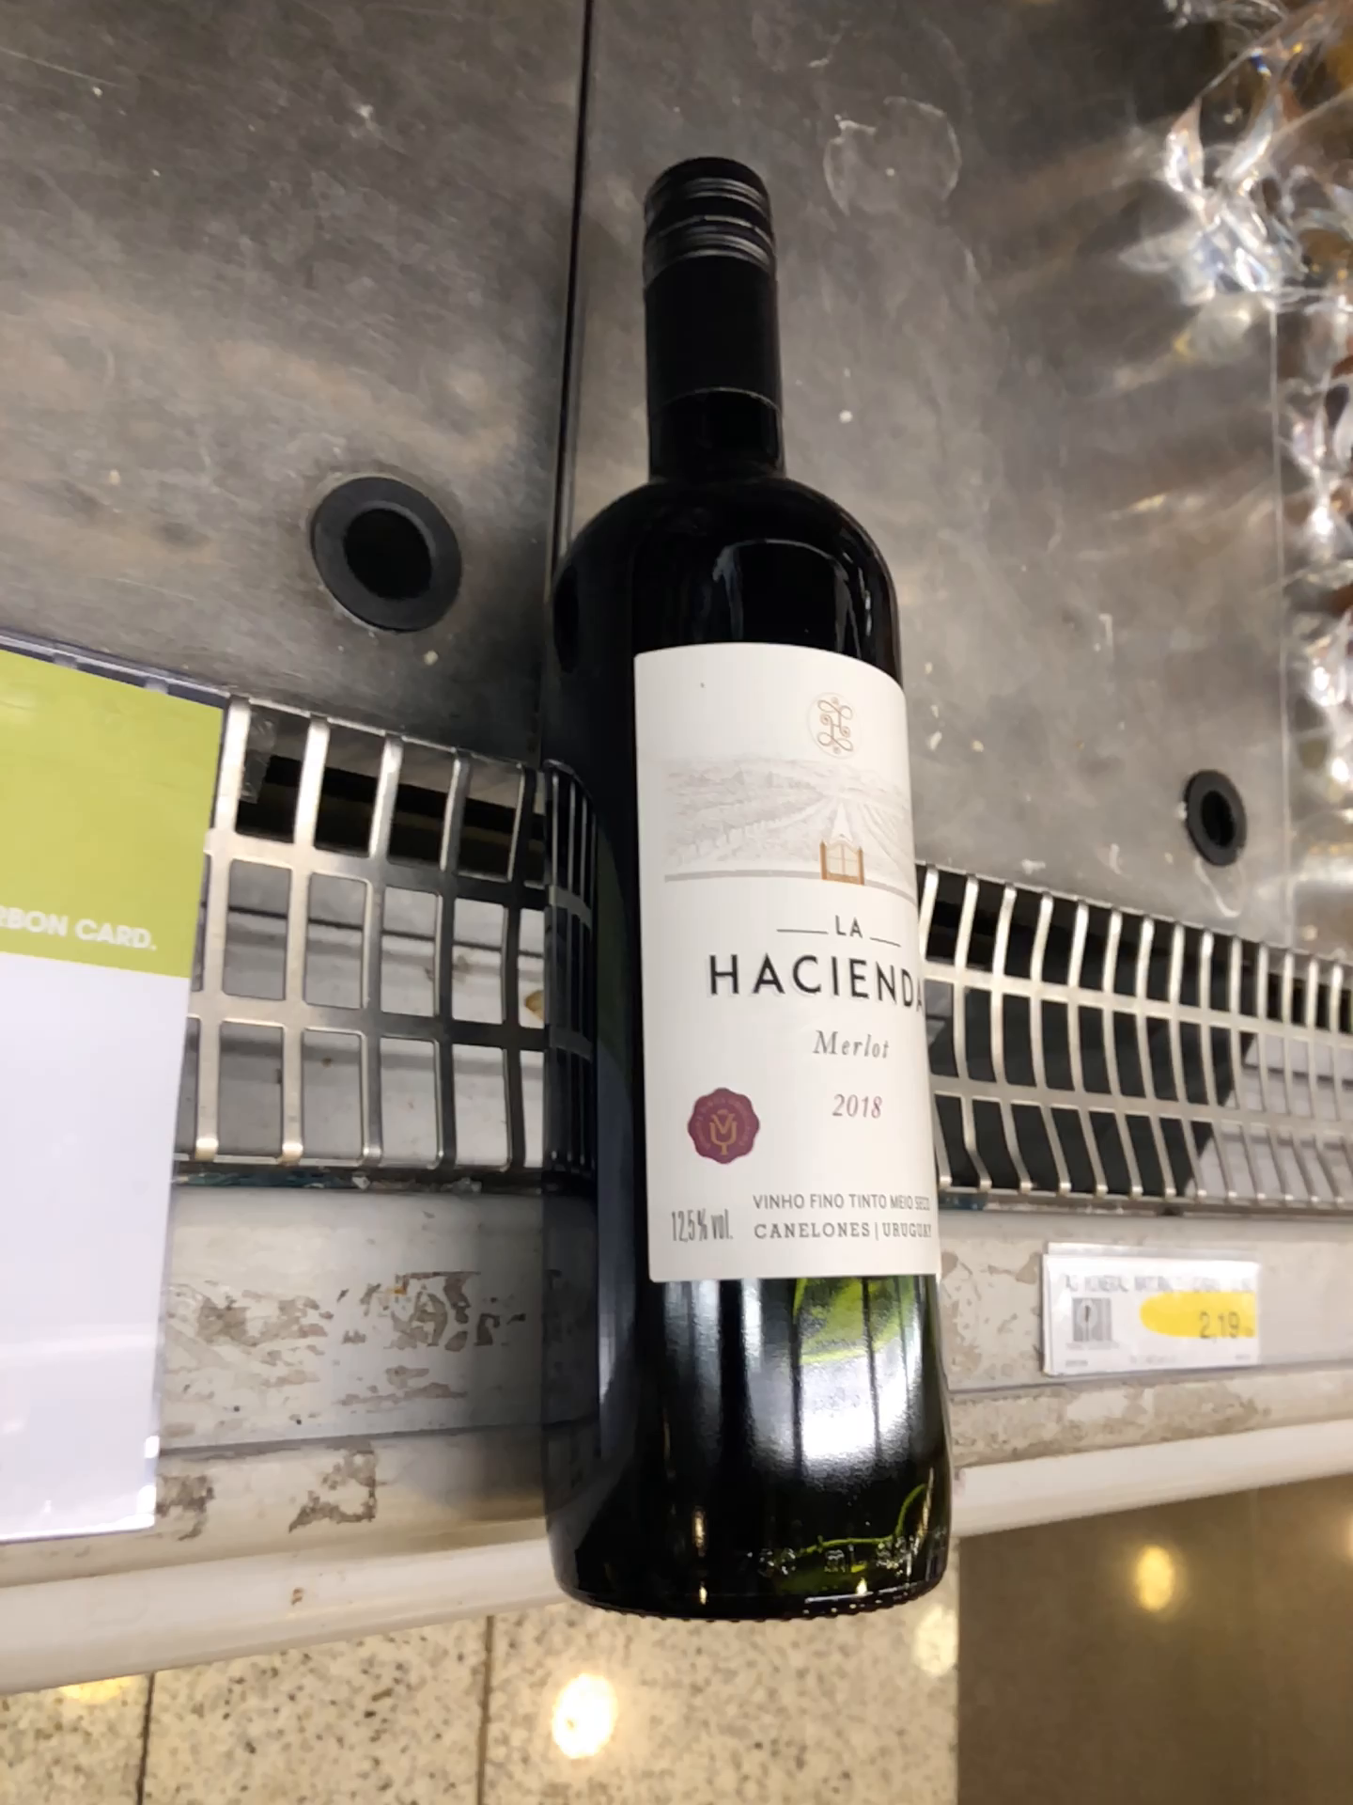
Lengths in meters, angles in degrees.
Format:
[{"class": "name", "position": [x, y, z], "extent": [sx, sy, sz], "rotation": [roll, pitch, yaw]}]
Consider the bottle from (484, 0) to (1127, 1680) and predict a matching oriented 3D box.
[{"class": "bottle", "position": [0.017, -0.030, 0.286], "extent": [0.080, 0.070, 0.300], "rotation": [10, 72, -38]}]
